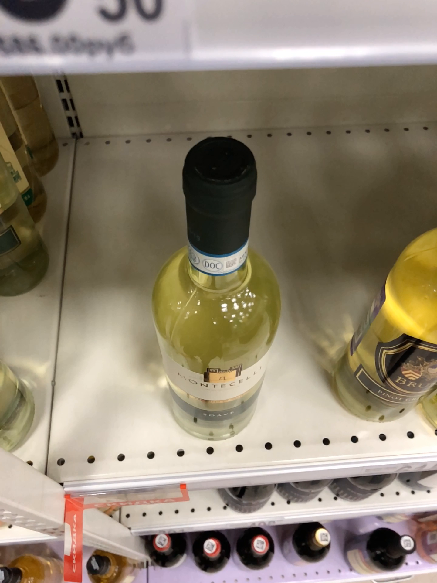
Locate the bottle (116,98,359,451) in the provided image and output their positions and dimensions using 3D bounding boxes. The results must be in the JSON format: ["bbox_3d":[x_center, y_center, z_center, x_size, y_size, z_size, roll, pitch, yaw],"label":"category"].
[{"bbox_3d":[0.001,0.026,0.303,0.080,0.285,0.070,-7,60,-5],"label":"bottle"}]
